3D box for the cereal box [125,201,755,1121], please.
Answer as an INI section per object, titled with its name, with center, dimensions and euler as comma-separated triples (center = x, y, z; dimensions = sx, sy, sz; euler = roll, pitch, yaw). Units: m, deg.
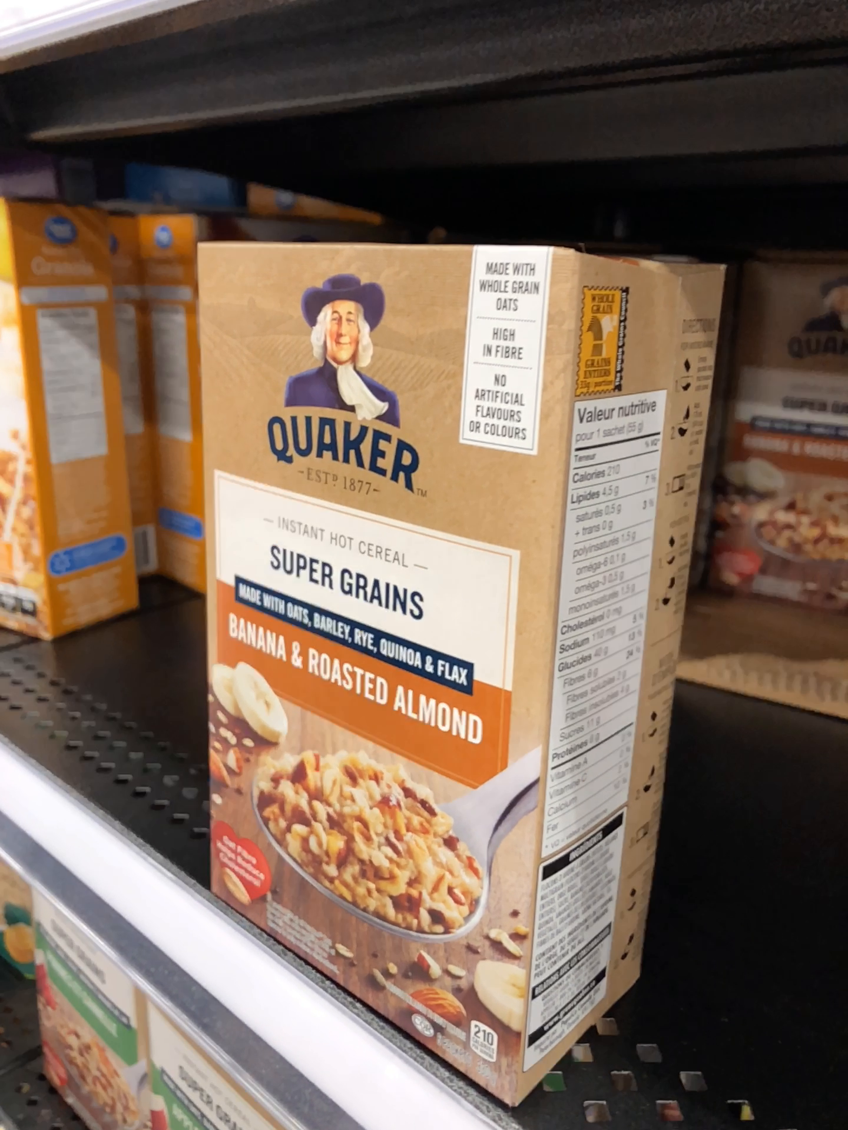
[cereal box]
center = -0.003, 0.010, 0.246
dimensions = 0.130, 0.189, 0.070
euler = 16, 23, 39
